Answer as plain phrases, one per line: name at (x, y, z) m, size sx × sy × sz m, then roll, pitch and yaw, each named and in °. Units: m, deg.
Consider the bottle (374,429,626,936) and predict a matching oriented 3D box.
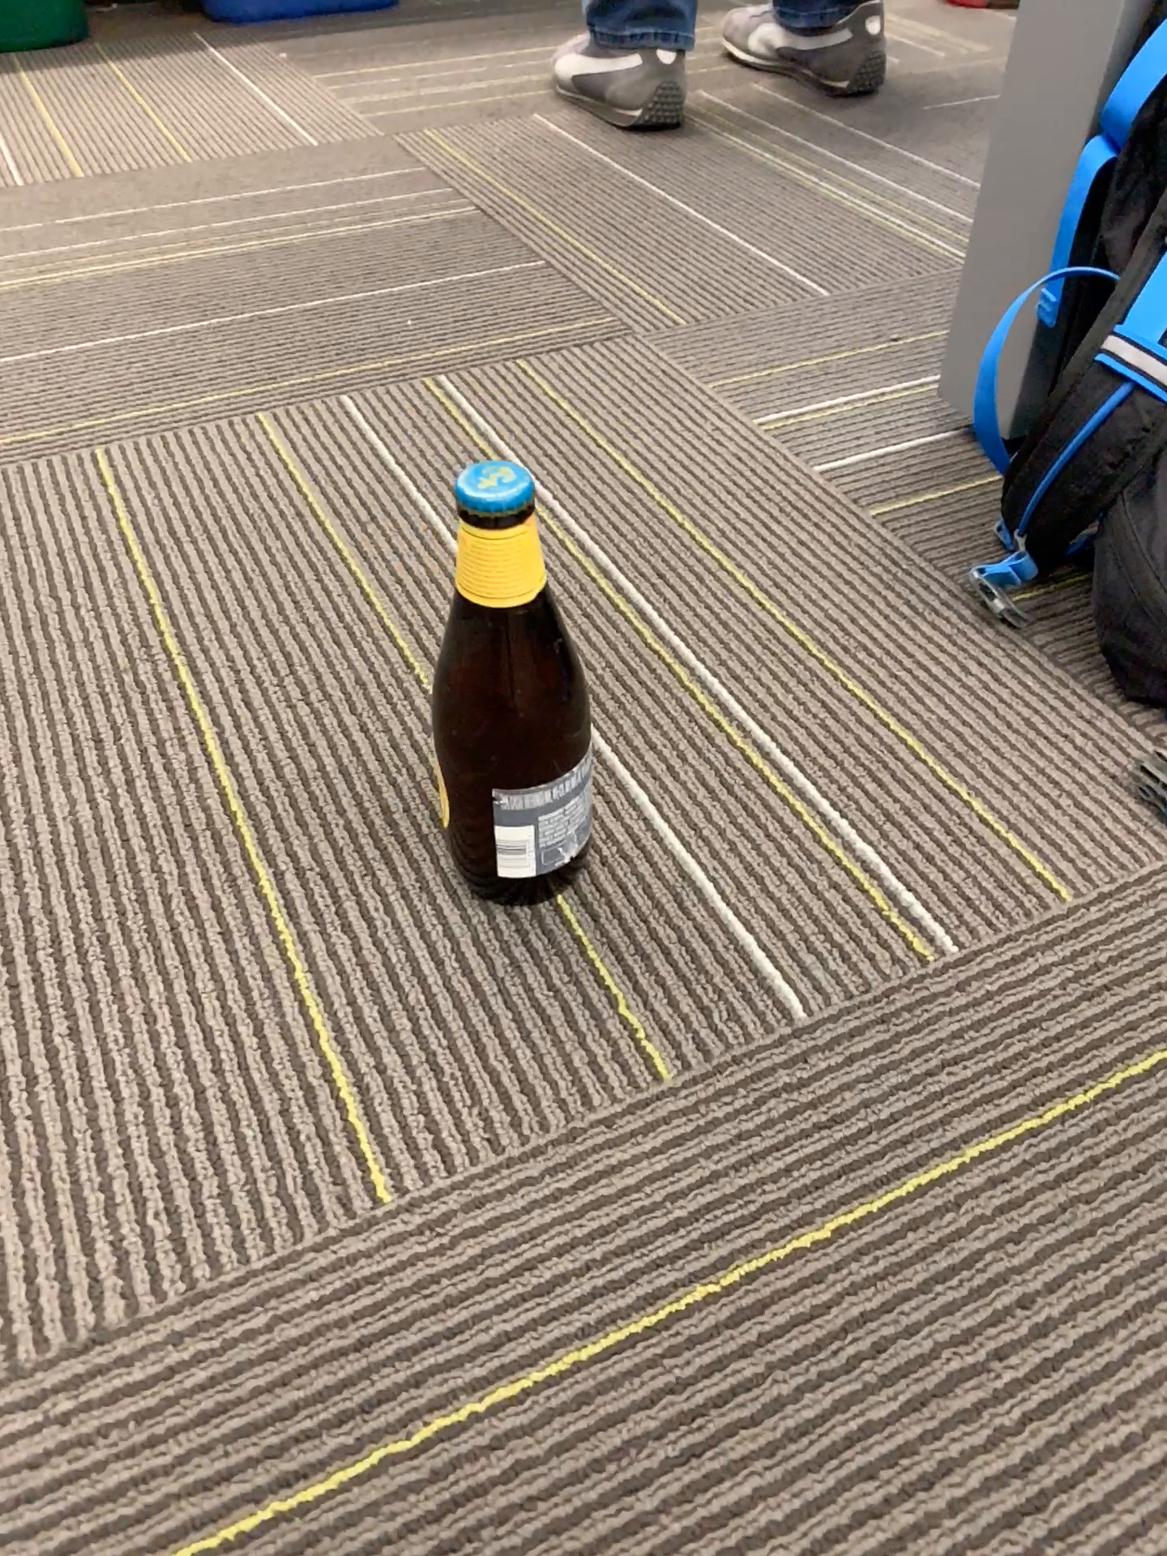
bottle at (-0.026, -0.029, 0.452) m, size 0.060 × 0.179 × 0.060 m, roll 0°, pitch 43°, yaw 0°
